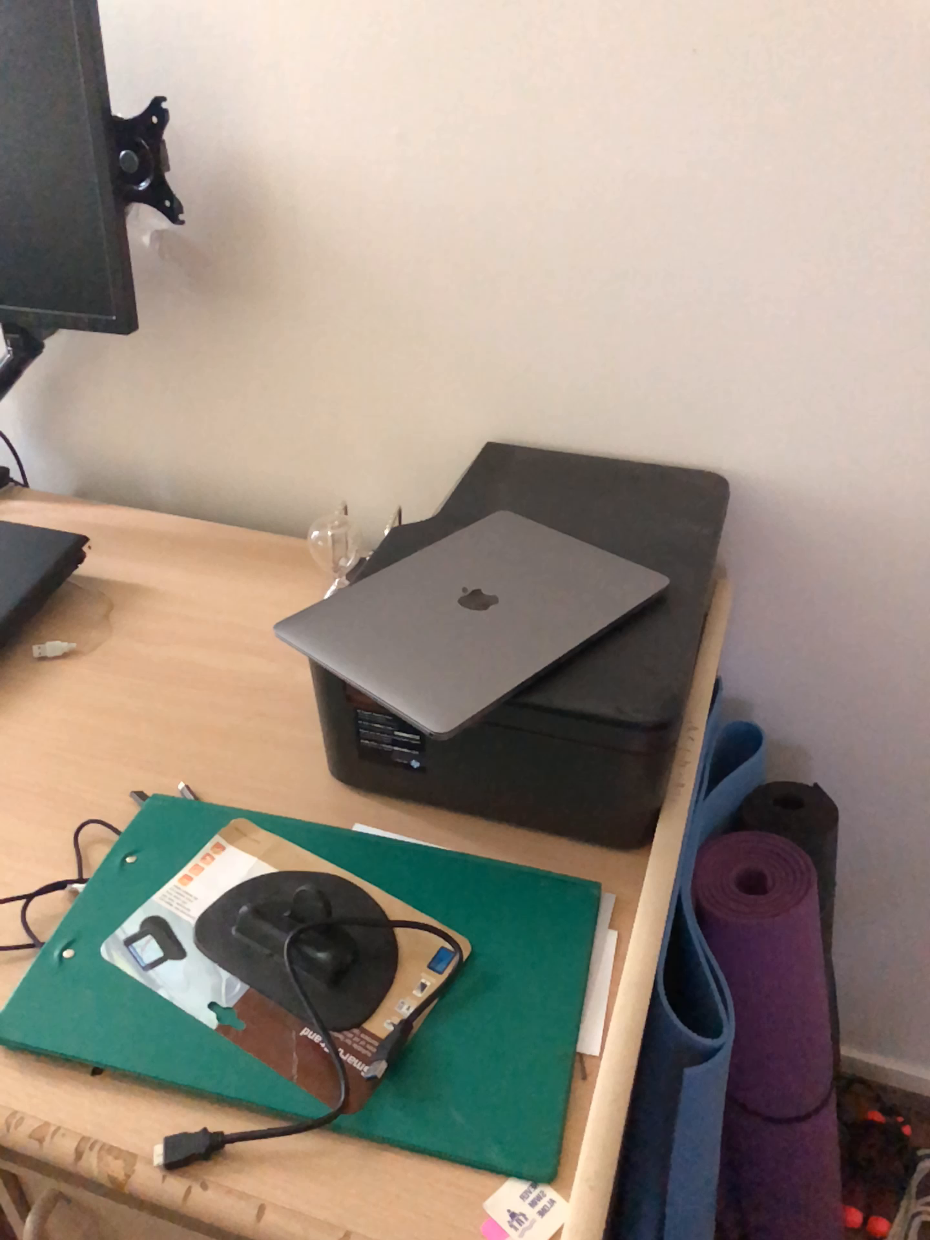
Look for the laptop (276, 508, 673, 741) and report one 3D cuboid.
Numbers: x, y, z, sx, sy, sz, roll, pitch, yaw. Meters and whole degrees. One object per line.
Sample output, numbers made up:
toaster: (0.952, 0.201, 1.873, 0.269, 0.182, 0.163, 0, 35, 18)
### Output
laptop: (0.011, -0.011, 0.827, 0.189, 0.007, 0.266, 28, 44, 37)
